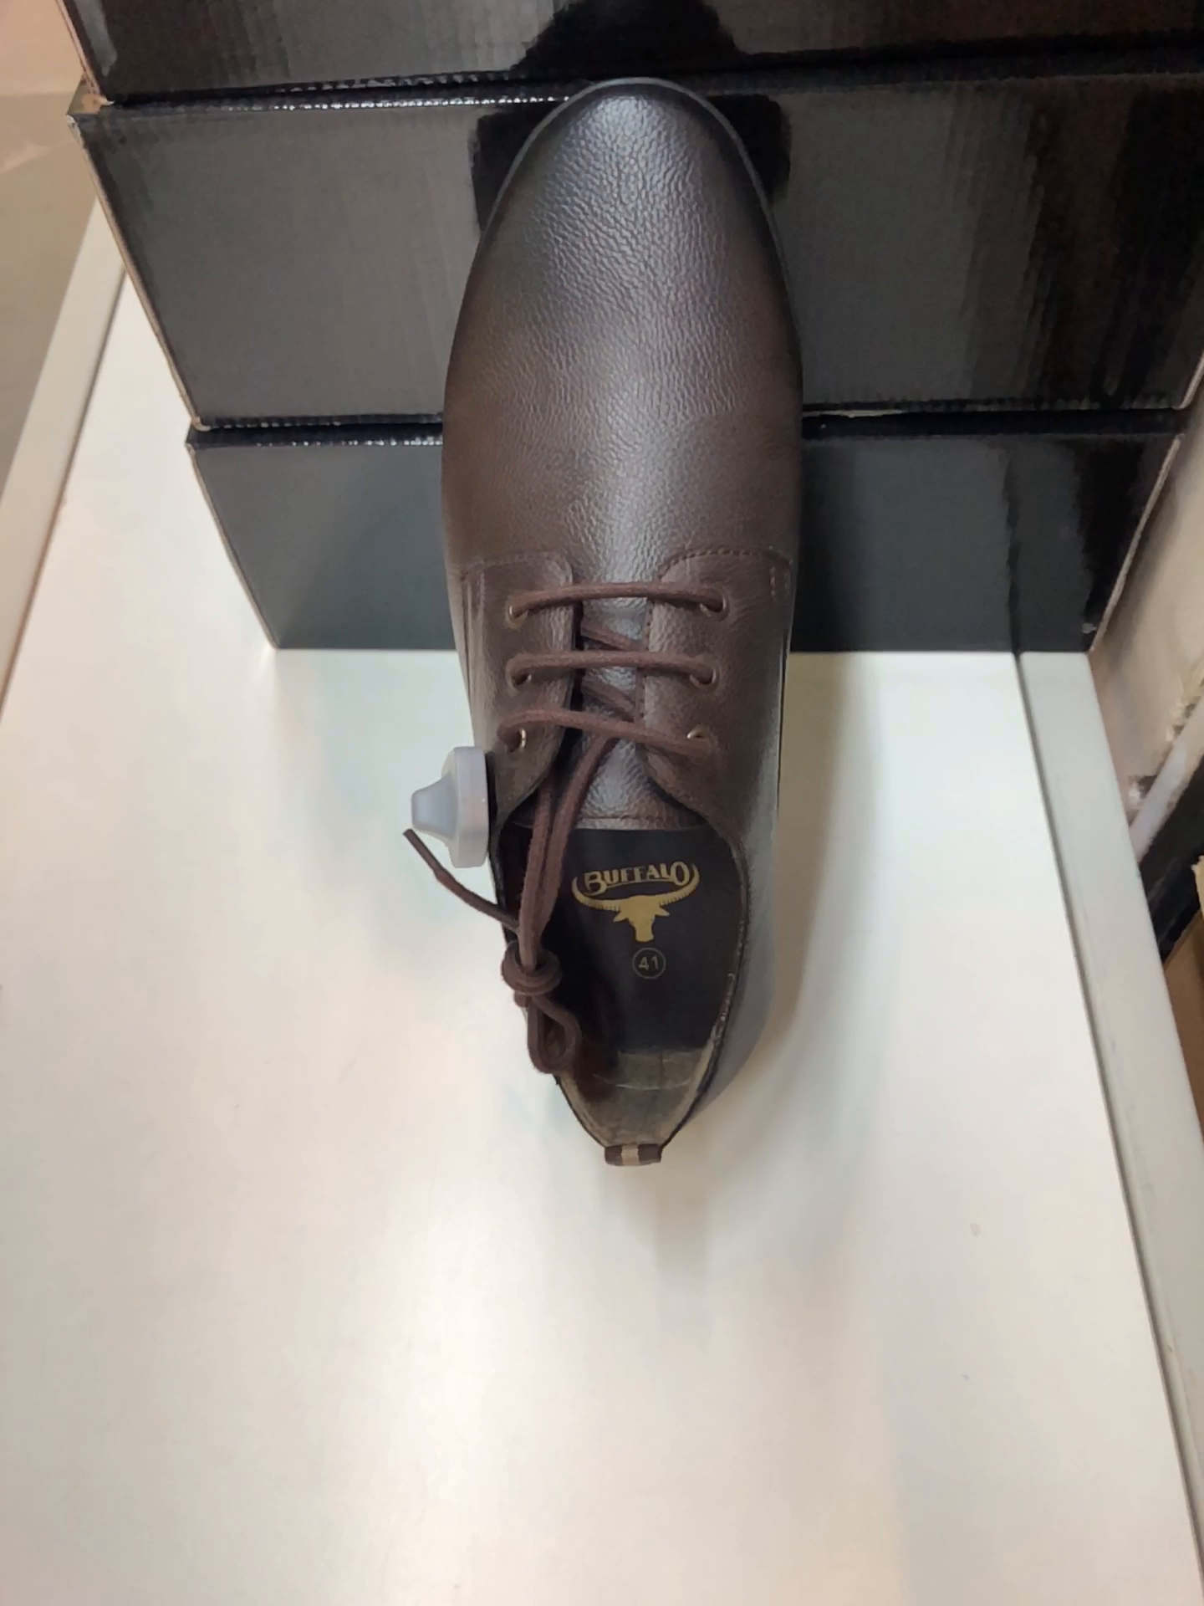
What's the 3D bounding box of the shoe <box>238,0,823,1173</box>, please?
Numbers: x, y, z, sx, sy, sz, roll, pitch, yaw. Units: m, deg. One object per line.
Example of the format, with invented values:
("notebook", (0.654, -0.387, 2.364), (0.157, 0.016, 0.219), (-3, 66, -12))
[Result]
("shoe", (-0.001, -0.058, 0.348), (0.111, 0.271, 0.116), (0, 15, 10))
